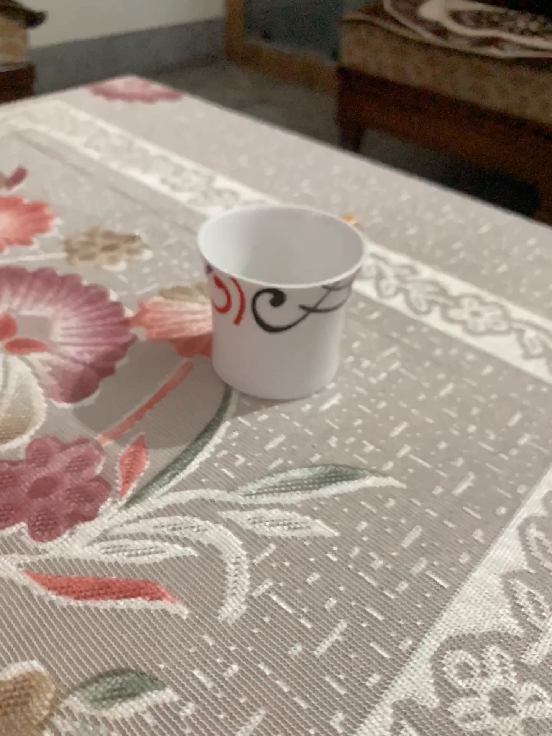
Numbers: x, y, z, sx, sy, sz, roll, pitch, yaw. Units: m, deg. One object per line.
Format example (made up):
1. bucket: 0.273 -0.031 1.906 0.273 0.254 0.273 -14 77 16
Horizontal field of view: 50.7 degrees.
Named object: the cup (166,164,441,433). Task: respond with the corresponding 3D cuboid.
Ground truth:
1. cup: 0.012 -0.035 0.248 0.070 0.060 0.090 28 46 25
